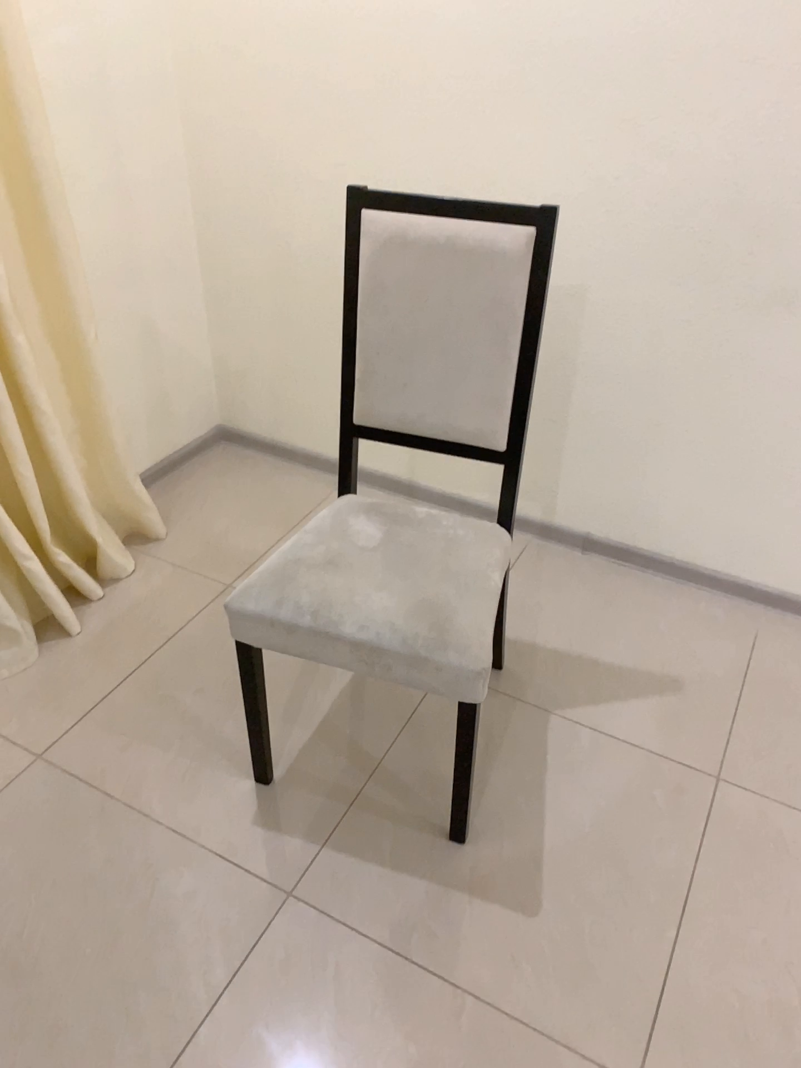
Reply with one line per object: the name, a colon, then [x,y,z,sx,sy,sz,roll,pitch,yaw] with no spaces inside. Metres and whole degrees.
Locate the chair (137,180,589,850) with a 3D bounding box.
chair: [-0.010,-0.034,1.416,0.480,0.964,0.513,11,35,17]
